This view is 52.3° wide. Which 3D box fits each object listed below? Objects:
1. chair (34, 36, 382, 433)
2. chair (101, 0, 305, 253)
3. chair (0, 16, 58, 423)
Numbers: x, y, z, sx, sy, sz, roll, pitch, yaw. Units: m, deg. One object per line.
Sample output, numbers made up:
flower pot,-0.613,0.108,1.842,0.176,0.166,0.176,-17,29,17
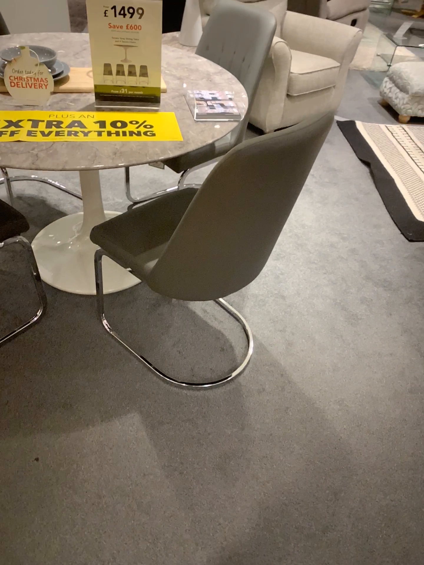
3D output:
chair,-0.048,-0.154,1.324,0.553,0.883,0.631,-30,54,-33
chair,-0.065,-0.719,1.942,0.581,0.883,0.523,-29,53,-33
chair,-0.923,-0.180,1.257,0.522,0.883,0.582,30,47,24
